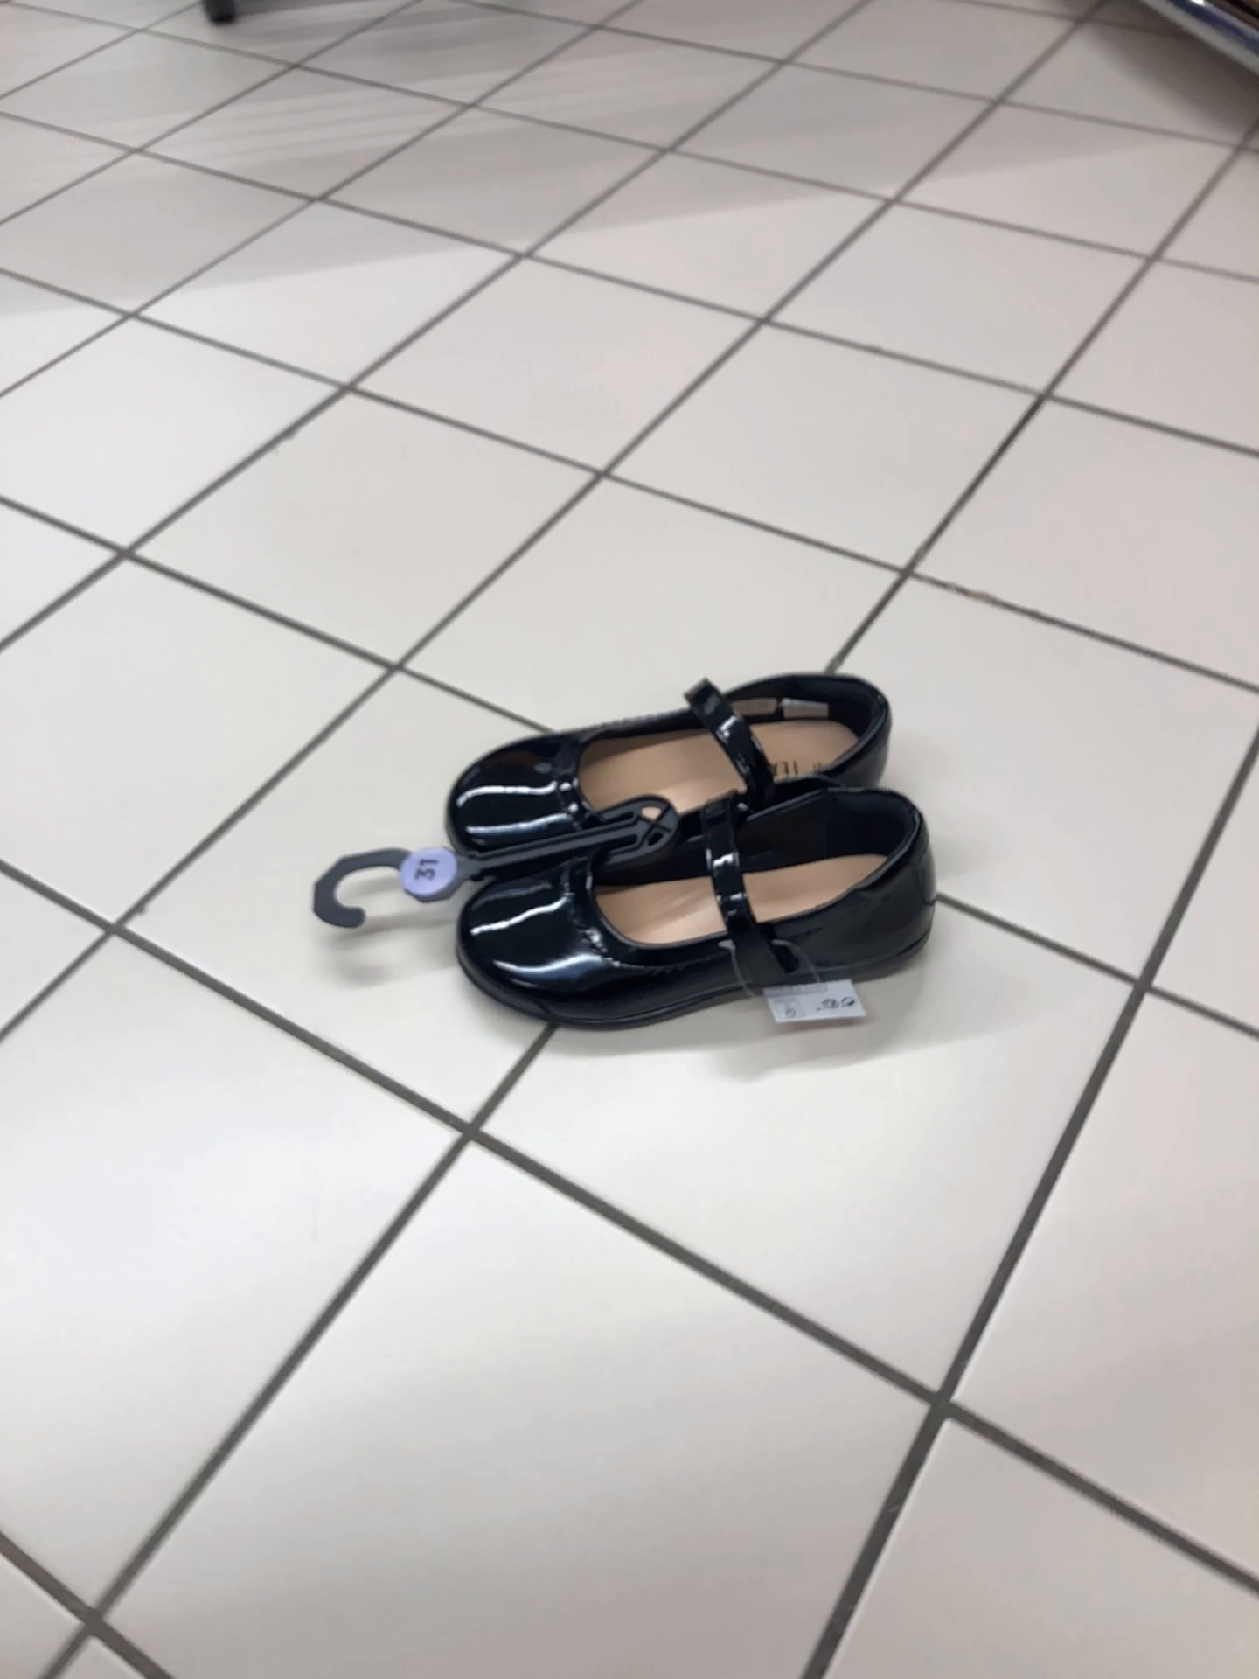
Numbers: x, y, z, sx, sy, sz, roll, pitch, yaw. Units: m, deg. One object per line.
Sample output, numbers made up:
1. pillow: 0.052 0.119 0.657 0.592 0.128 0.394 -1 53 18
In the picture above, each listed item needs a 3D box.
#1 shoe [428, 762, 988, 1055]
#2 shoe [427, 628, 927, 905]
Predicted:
1. shoe: 0.028 0.027 0.566 0.210 0.052 0.079 -7 49 -2
2. shoe: 0.018 -0.034 0.618 0.204 0.056 0.079 -8 49 -4
